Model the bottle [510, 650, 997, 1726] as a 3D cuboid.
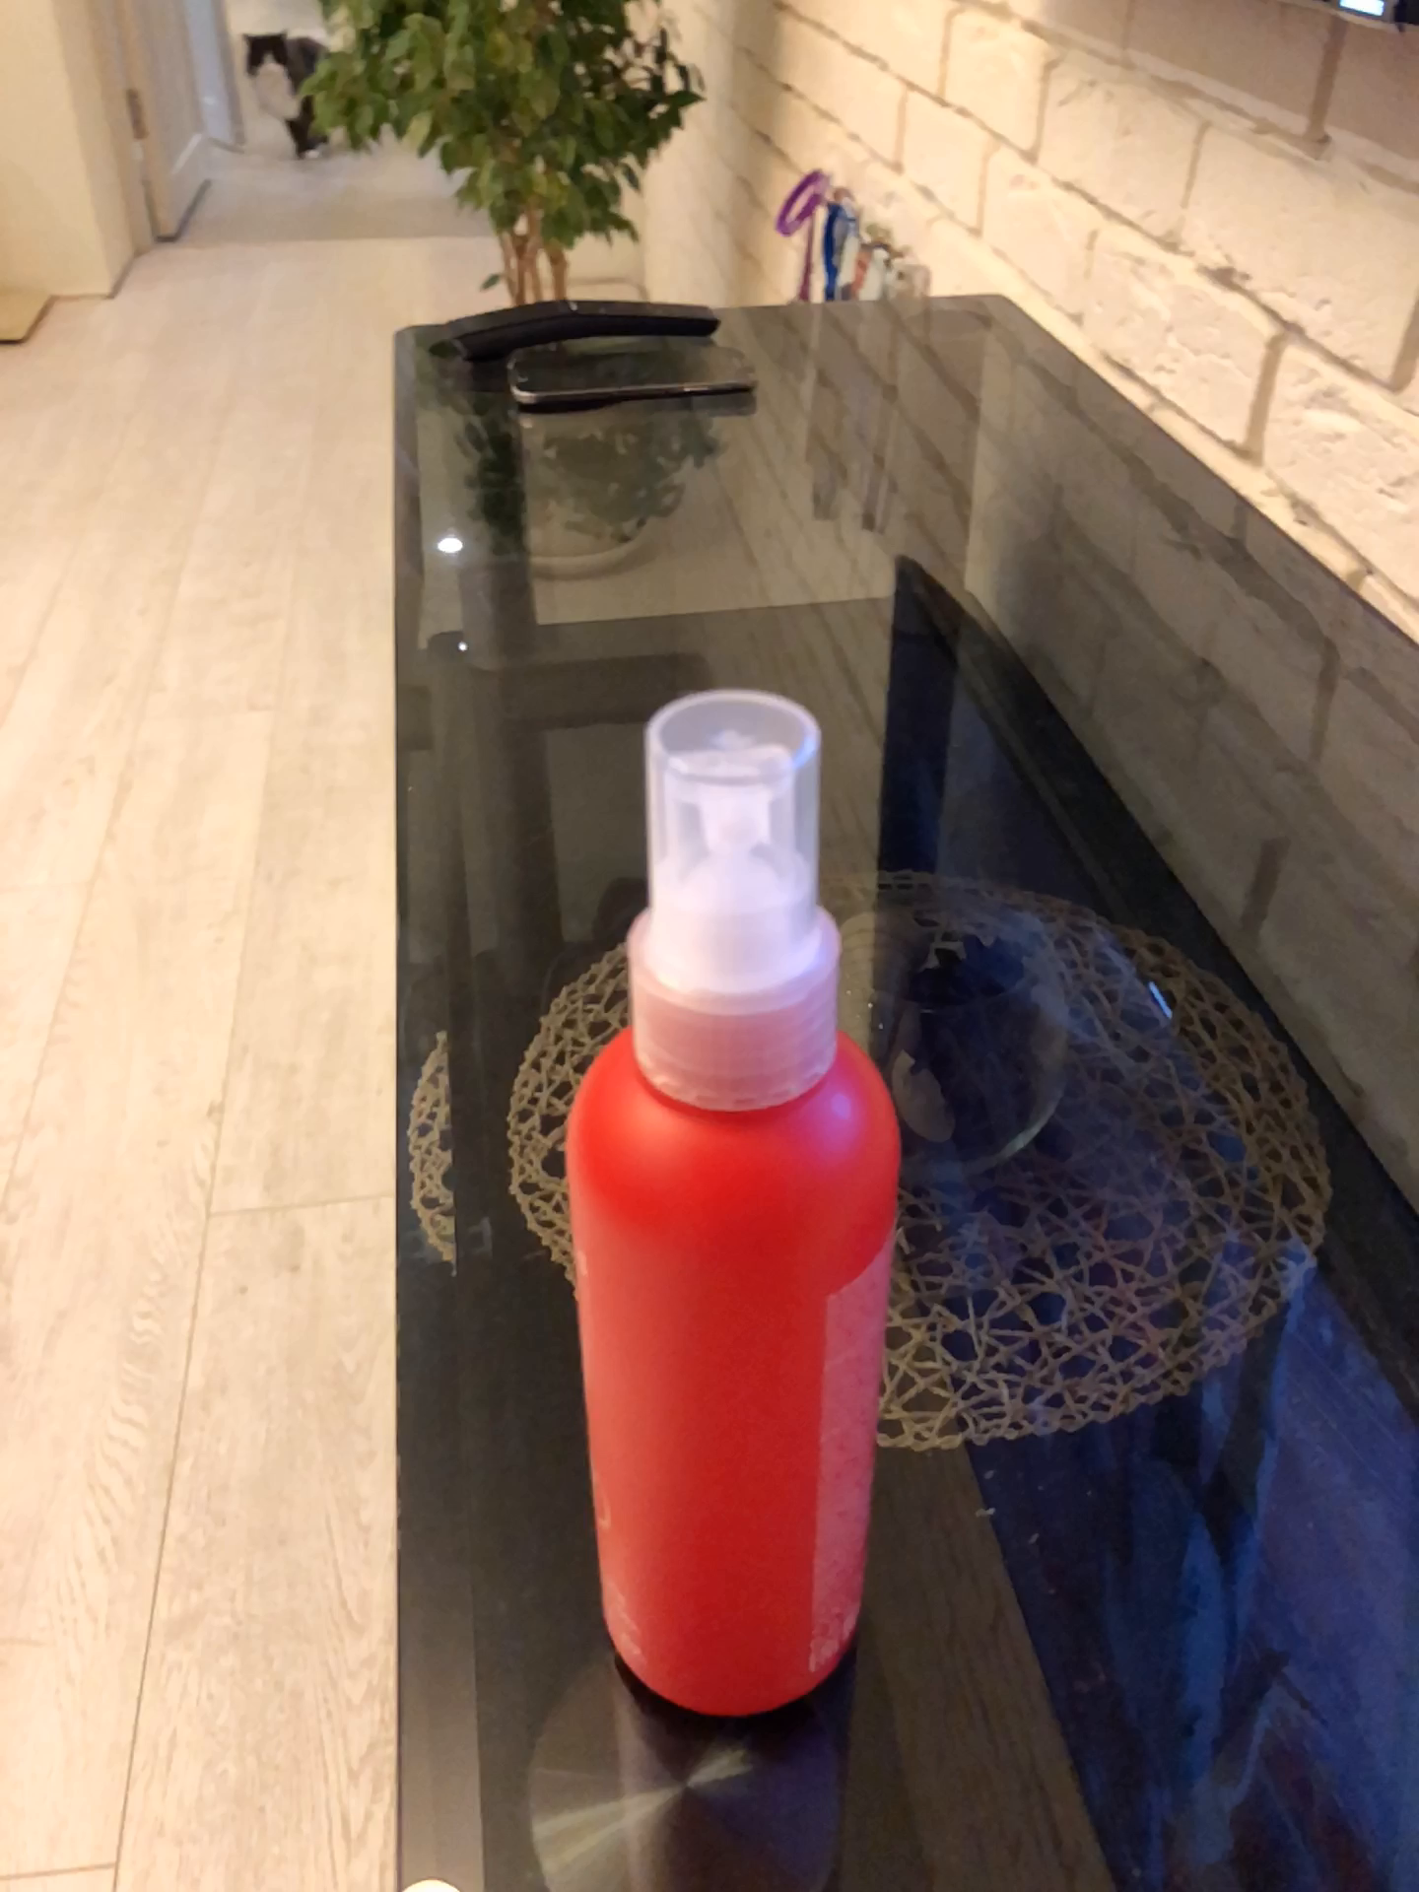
[{"bbox_3d":[0.003,0.048,0.238,0.052,0.179,0.048,0,36,0],"label":"bottle"}]
